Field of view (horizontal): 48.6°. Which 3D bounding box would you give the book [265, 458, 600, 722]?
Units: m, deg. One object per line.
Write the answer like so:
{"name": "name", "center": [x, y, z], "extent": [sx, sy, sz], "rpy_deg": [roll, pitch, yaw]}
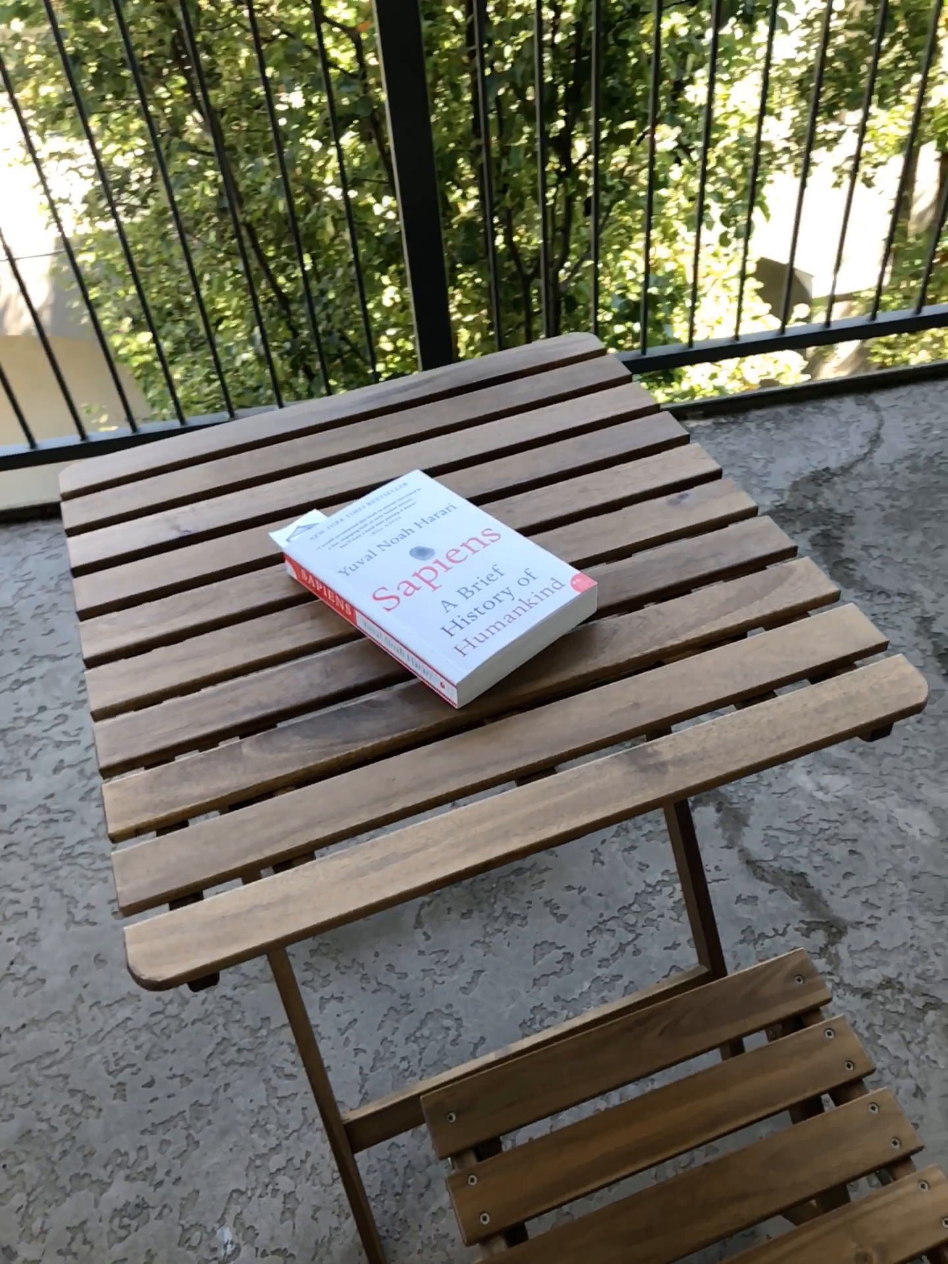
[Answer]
{"name": "book", "center": [-0.038, -0.046, 0.878], "extent": [0.160, 0.040, 0.241], "rpy_deg": [-35, 52, -26]}
